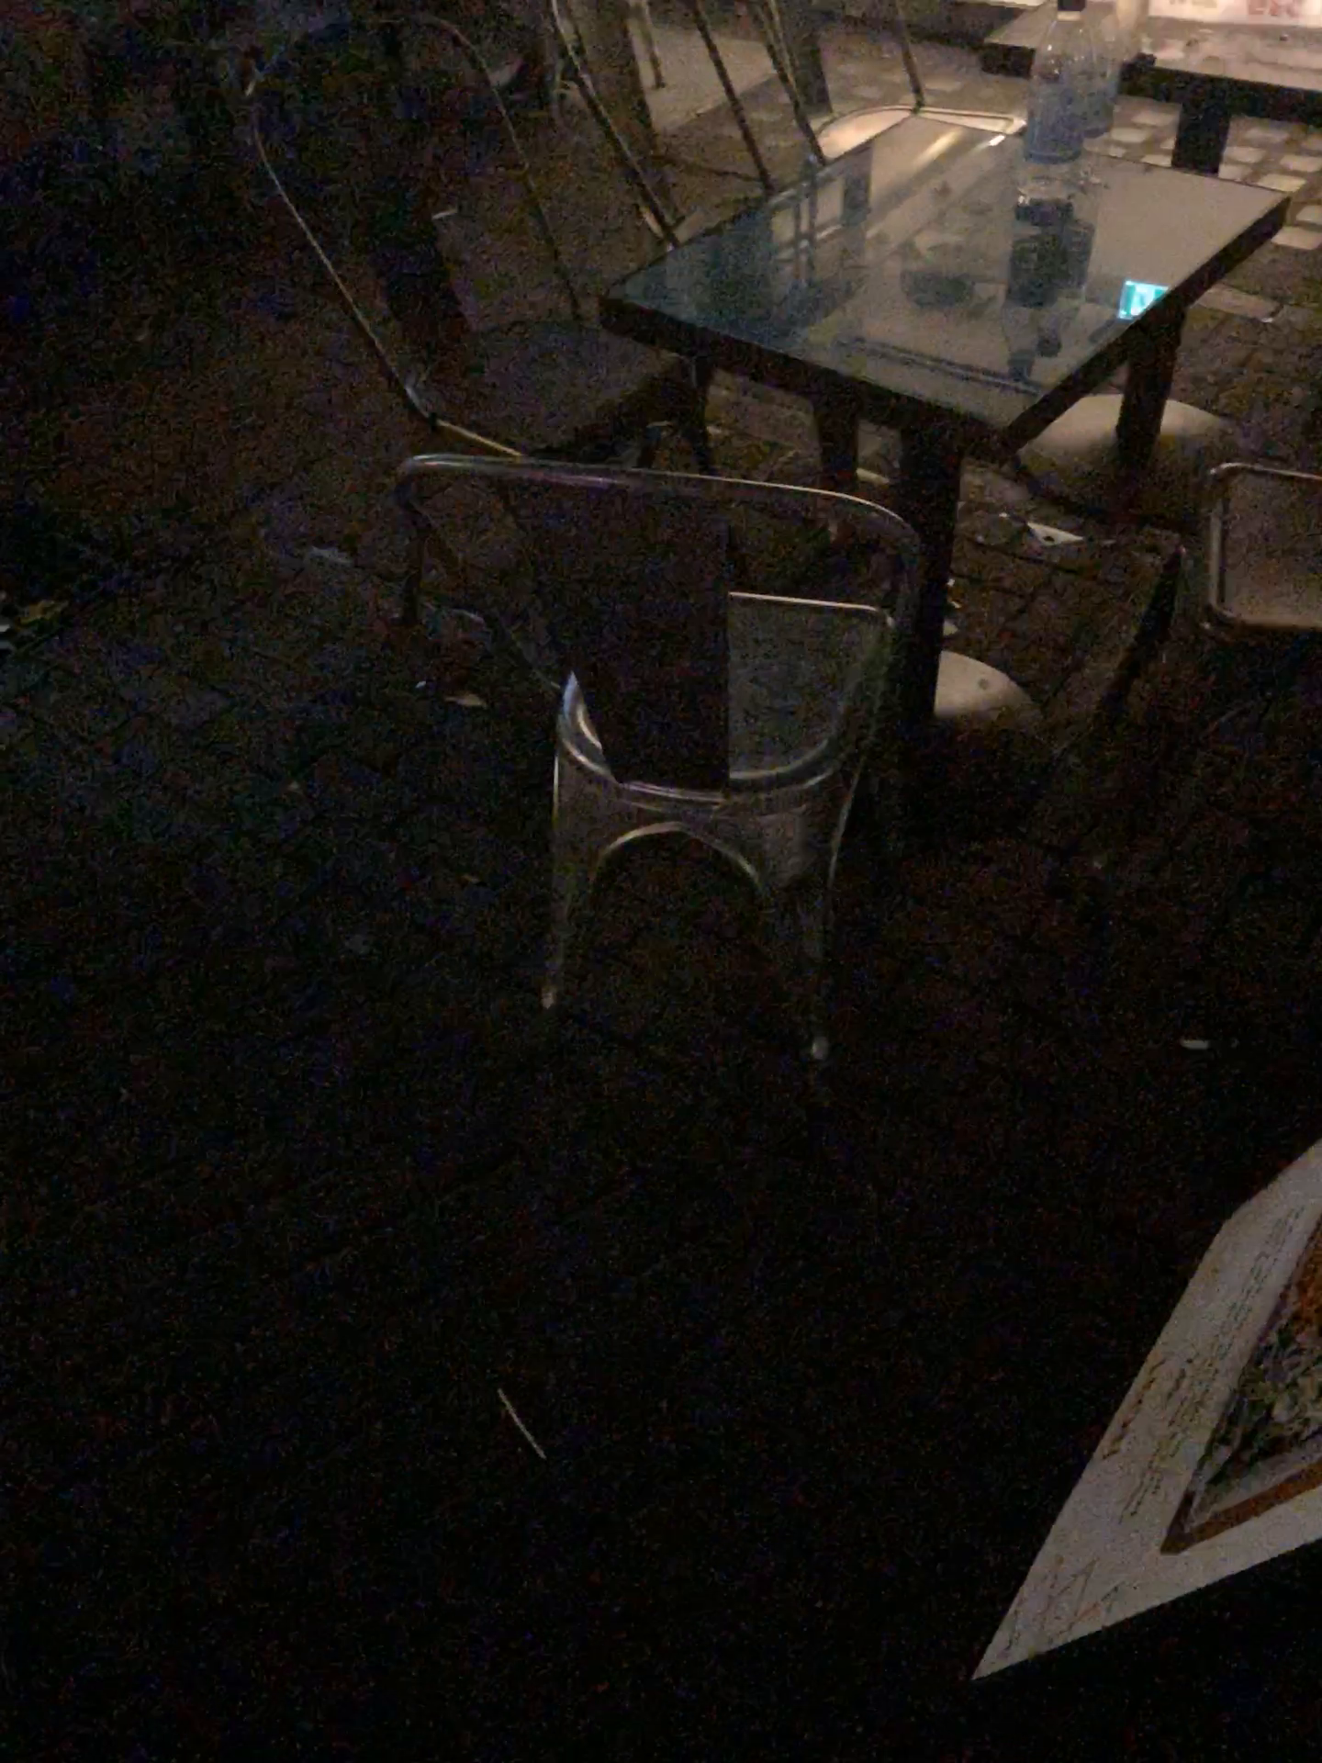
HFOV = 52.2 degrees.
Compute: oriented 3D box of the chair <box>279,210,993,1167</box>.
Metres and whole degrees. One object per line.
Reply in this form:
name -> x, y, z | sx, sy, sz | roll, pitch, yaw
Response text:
chair -> 0.038, -0.194, 1.392 | 0.500, 0.723, 0.605 | 5, 46, 8
